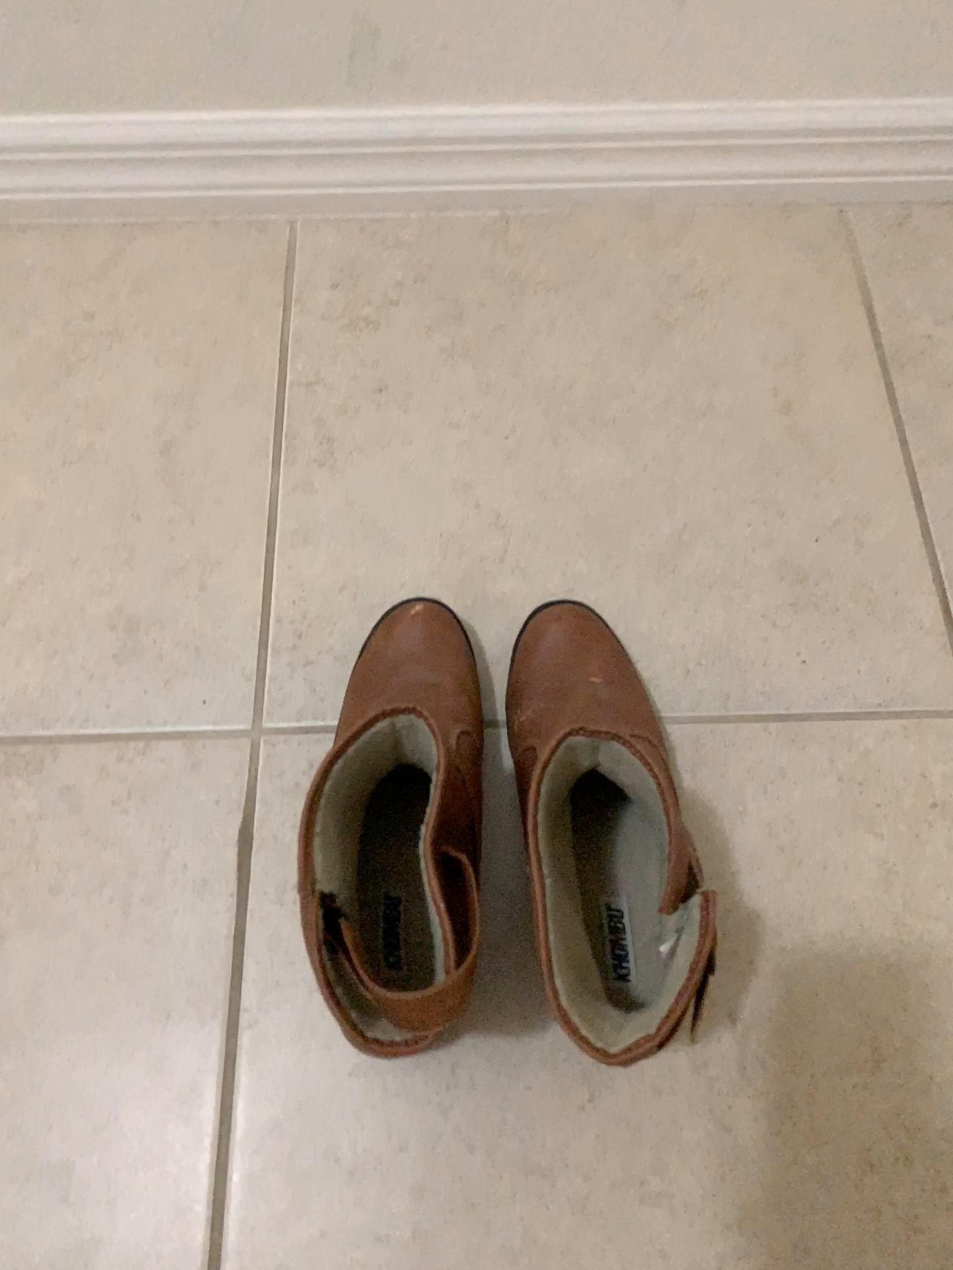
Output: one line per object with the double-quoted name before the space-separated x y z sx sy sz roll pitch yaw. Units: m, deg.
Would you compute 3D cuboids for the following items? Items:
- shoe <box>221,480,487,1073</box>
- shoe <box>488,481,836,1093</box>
"shoe" -0.043 0.081 0.483 0.094 0.193 0.247 -1 65 0
"shoe" 0.070 0.083 0.492 0.107 0.173 0.261 -4 65 -2
